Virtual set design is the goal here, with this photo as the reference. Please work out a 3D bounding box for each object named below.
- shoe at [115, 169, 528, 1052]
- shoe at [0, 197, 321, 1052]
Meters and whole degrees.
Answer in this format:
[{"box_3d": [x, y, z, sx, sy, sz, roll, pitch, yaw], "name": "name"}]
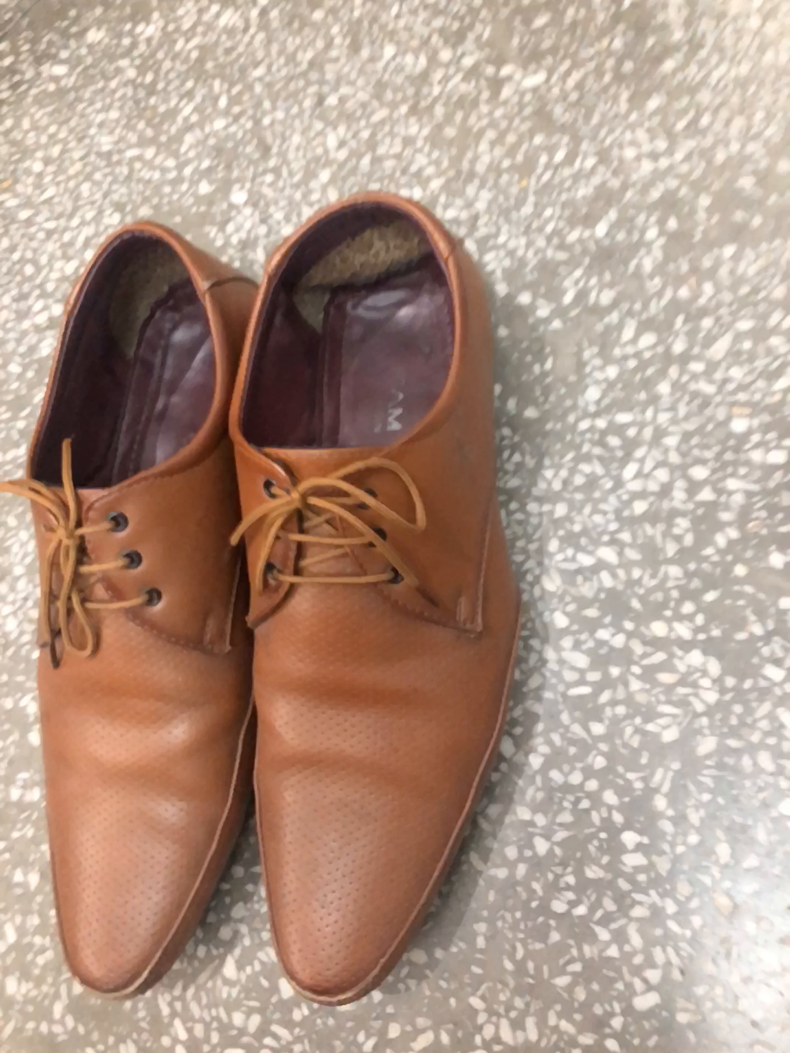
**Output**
[{"box_3d": [-0.011, 0.033, 0.332, 0.105, 0.118, 0.284, -1, 77, 14], "name": "shoe"}, {"box_3d": [-0.108, 0.034, 0.356, 0.105, 0.118, 0.284, -1, 77, 14], "name": "shoe"}]
